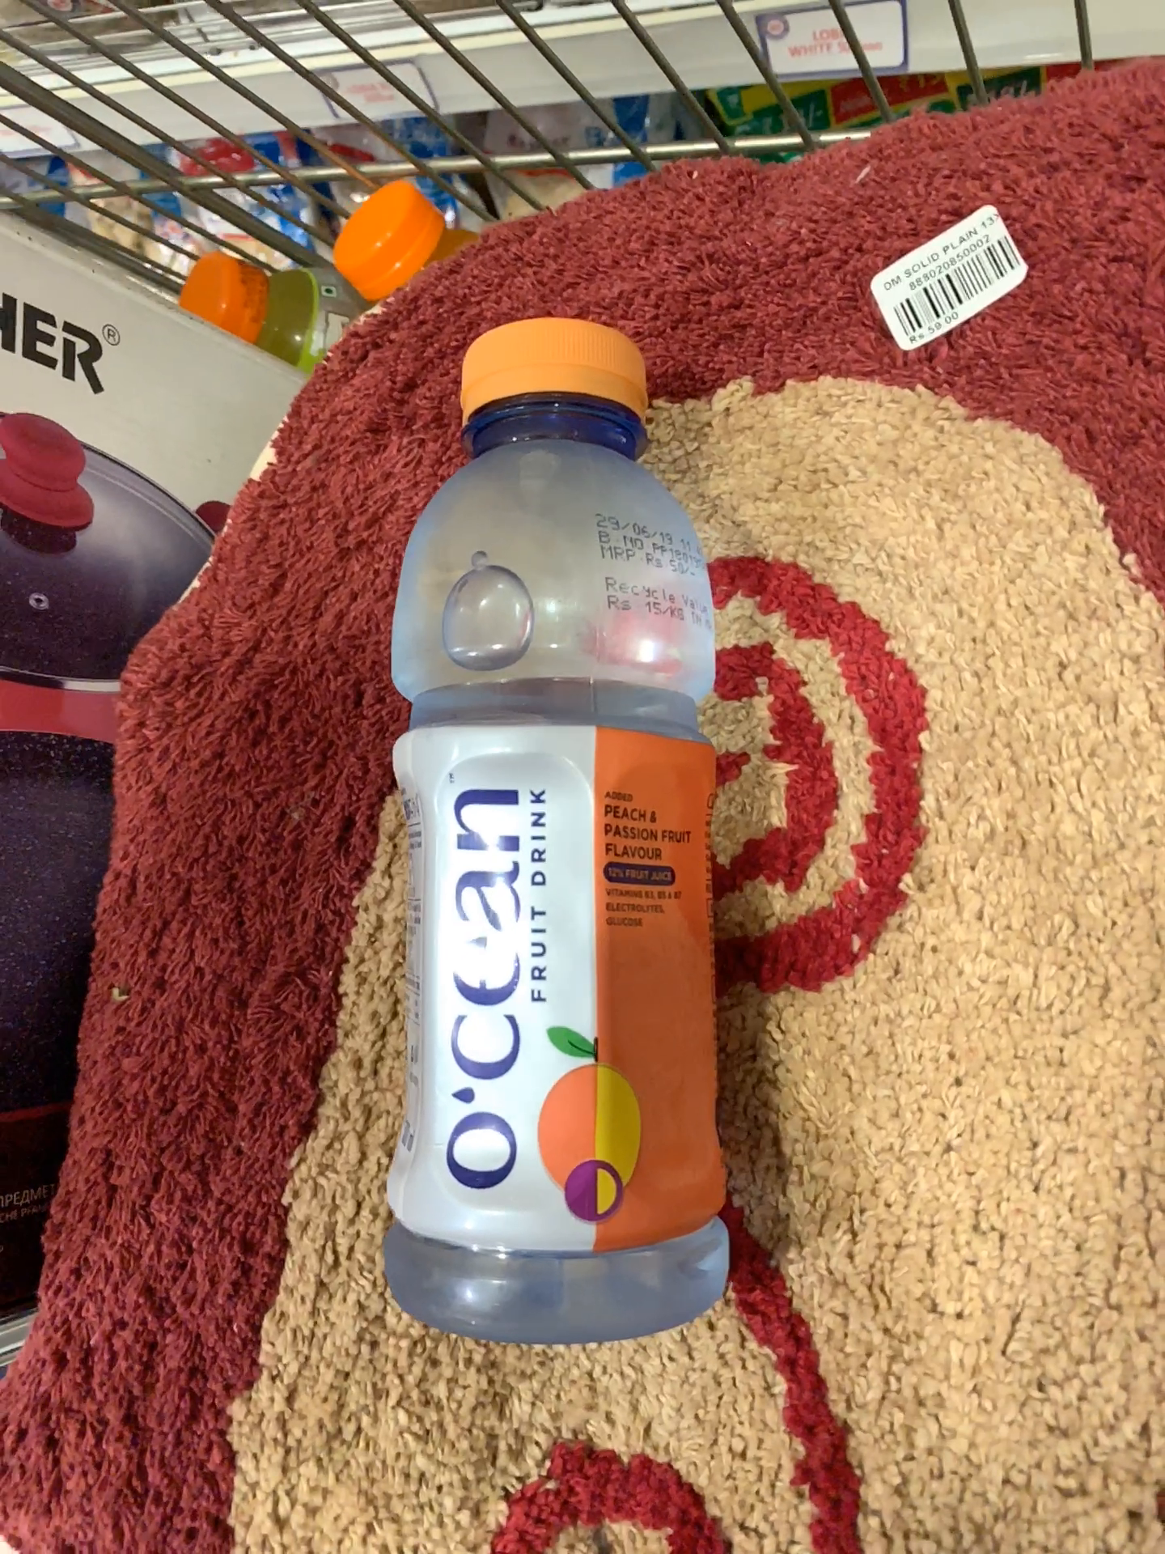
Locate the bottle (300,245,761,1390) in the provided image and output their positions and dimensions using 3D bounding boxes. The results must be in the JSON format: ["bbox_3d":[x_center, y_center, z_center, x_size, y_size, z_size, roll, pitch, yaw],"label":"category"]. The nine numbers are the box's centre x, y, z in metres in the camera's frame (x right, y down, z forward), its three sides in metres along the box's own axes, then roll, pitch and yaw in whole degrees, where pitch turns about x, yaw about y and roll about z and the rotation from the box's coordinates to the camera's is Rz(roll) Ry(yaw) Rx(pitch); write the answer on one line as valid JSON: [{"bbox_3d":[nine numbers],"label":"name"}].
[{"bbox_3d":[-0.007,0.006,0.228,0.070,0.060,0.180,-1,88,18],"label":"bottle"}]
